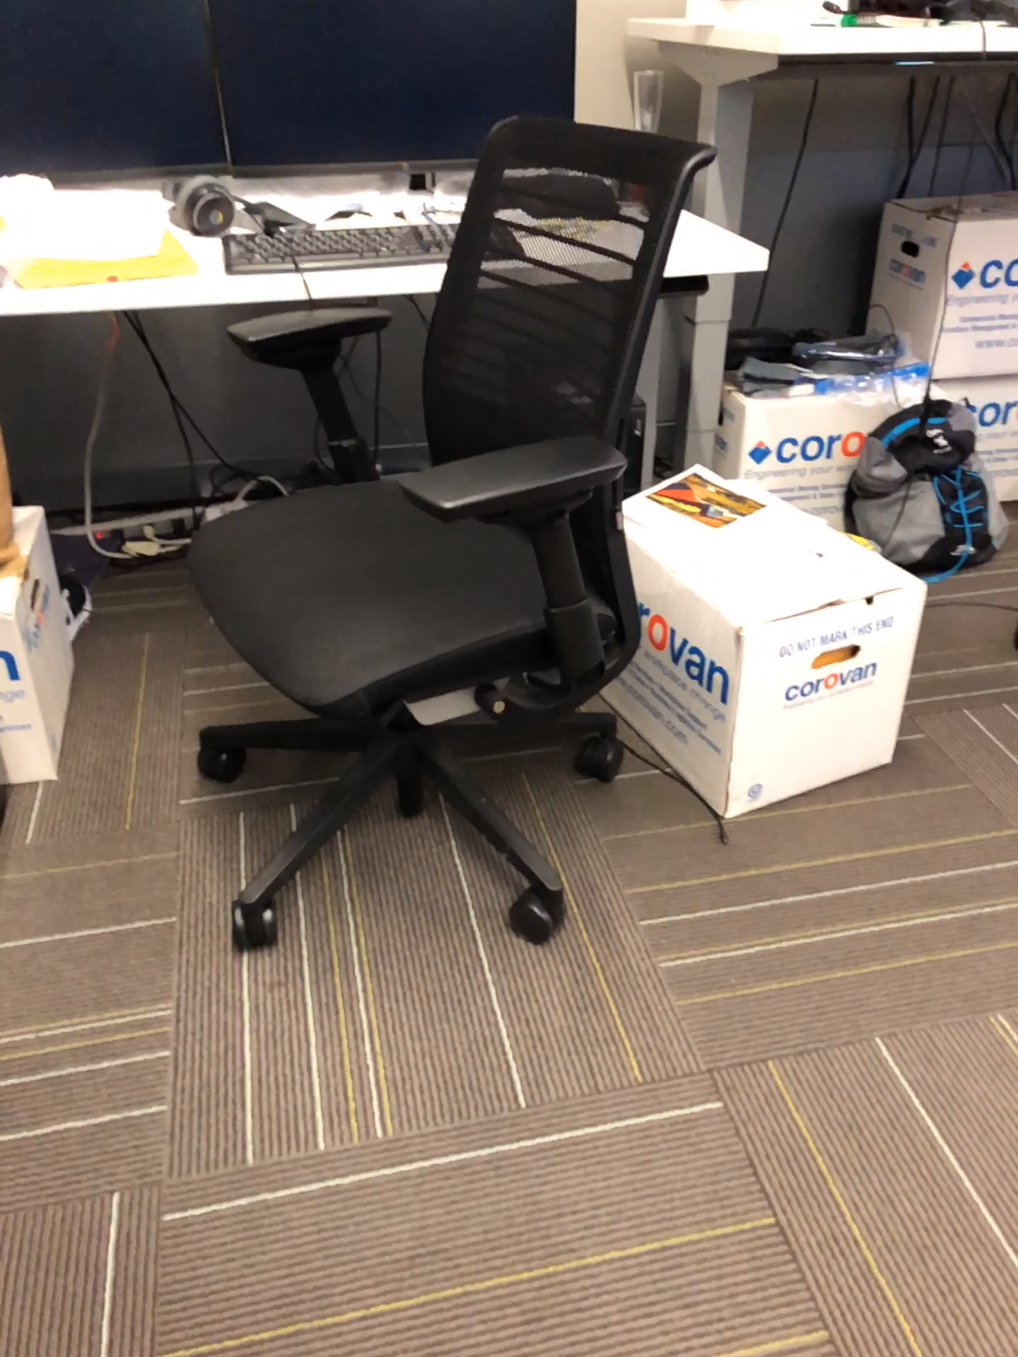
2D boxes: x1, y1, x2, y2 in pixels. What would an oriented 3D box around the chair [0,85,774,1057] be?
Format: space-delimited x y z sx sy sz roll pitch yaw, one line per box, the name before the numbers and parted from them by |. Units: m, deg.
chair | -0.177 -0.198 1.418 0.611 0.935 0.673 -19 36 -27
